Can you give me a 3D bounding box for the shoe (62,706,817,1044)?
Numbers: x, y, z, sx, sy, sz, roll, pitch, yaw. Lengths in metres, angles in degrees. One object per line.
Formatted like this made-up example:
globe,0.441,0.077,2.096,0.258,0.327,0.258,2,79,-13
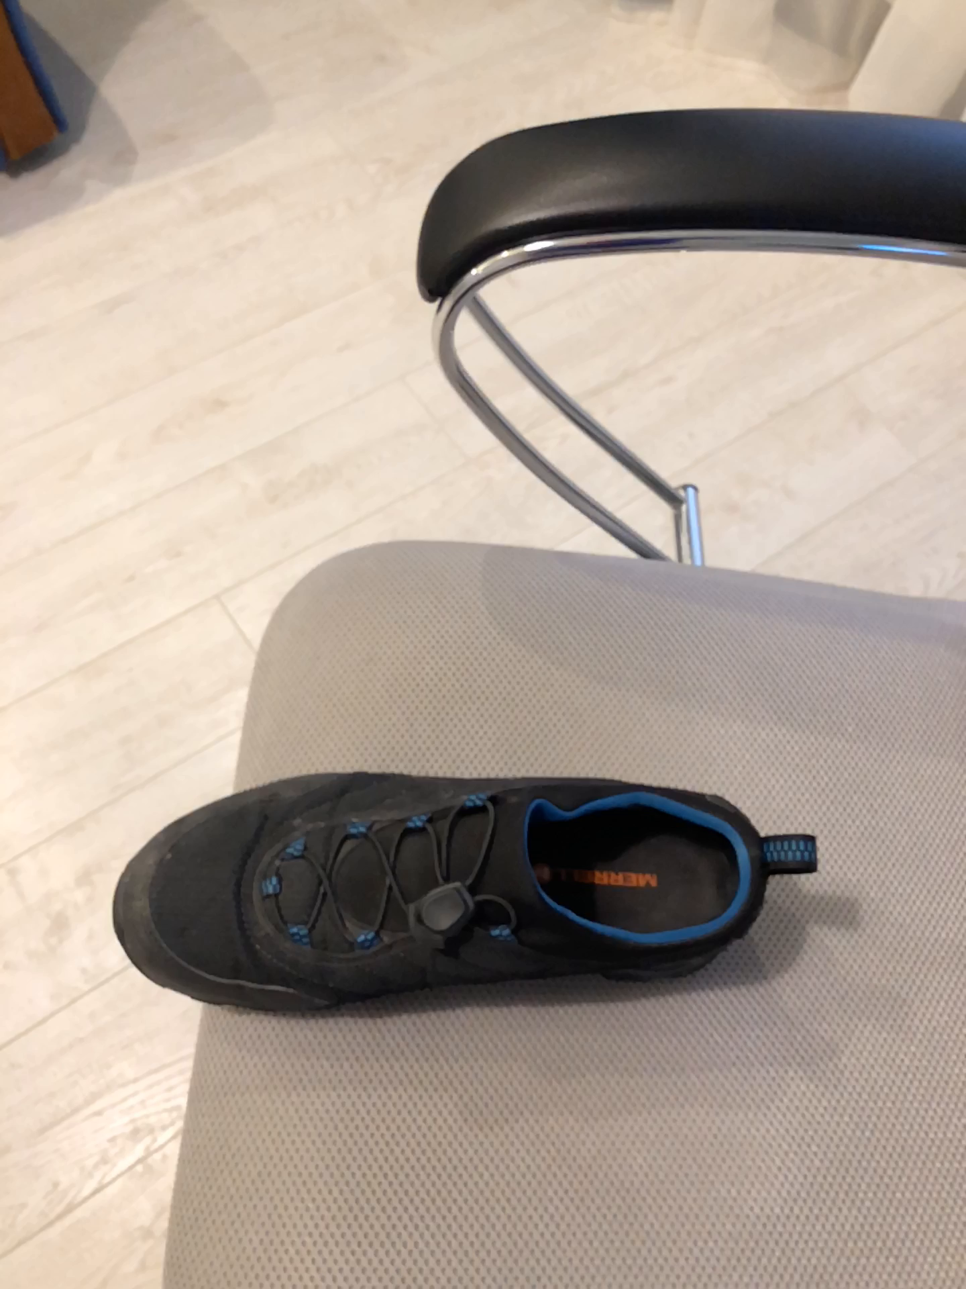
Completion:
shoe,-0.019,0.111,0.503,0.300,0.109,0.129,1,62,-4
